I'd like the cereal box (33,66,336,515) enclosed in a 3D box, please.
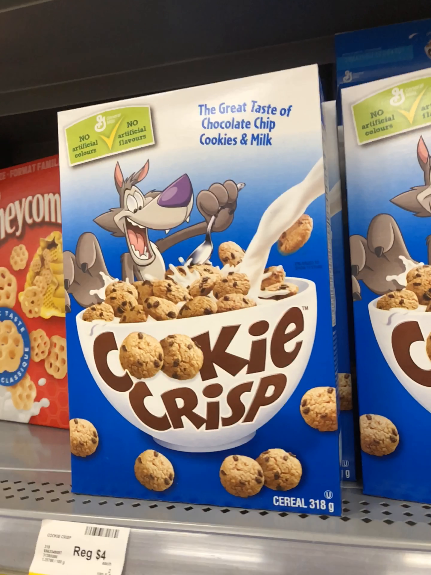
[{"bbox_3d":[-0.024,0.006,0.345,0.200,0.280,0.050,-3,-1,15],"label":"cereal box"}]
